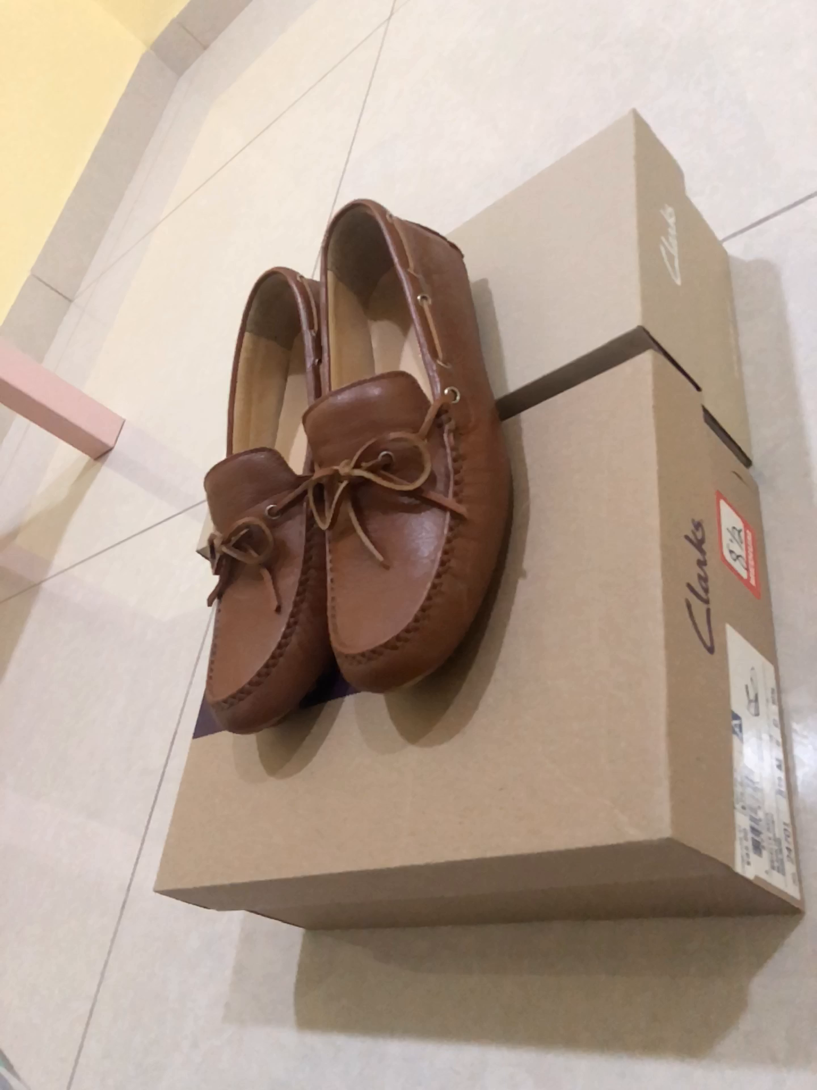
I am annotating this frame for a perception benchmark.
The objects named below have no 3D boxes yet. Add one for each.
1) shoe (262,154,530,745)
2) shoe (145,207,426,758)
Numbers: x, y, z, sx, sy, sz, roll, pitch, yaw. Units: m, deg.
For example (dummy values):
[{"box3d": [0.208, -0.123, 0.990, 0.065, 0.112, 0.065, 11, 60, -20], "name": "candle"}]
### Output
[{"box3d": [-0.003, -0.054, 0.450, 0.080, 0.080, 0.280, -24, 52, 36], "name": "shoe"}, {"box3d": [-0.057, -0.037, 0.489, 0.080, 0.080, 0.280, -19, 55, 40], "name": "shoe"}]
